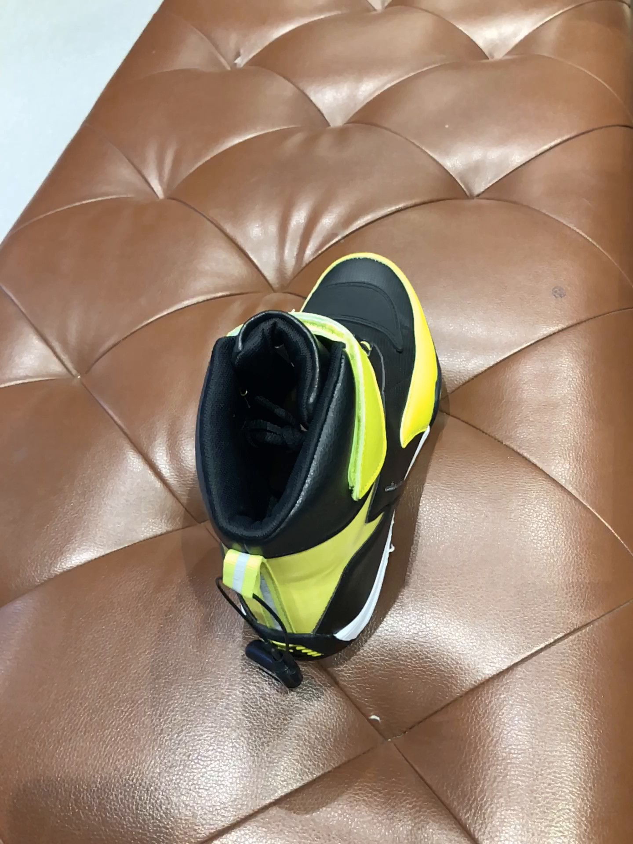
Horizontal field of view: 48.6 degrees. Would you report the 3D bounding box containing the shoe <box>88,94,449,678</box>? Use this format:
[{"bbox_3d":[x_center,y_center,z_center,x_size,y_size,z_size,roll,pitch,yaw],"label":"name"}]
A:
[{"bbox_3d":[0.006,-0.026,0.399,0.116,0.172,0.275,4,56,12],"label":"shoe"}]
